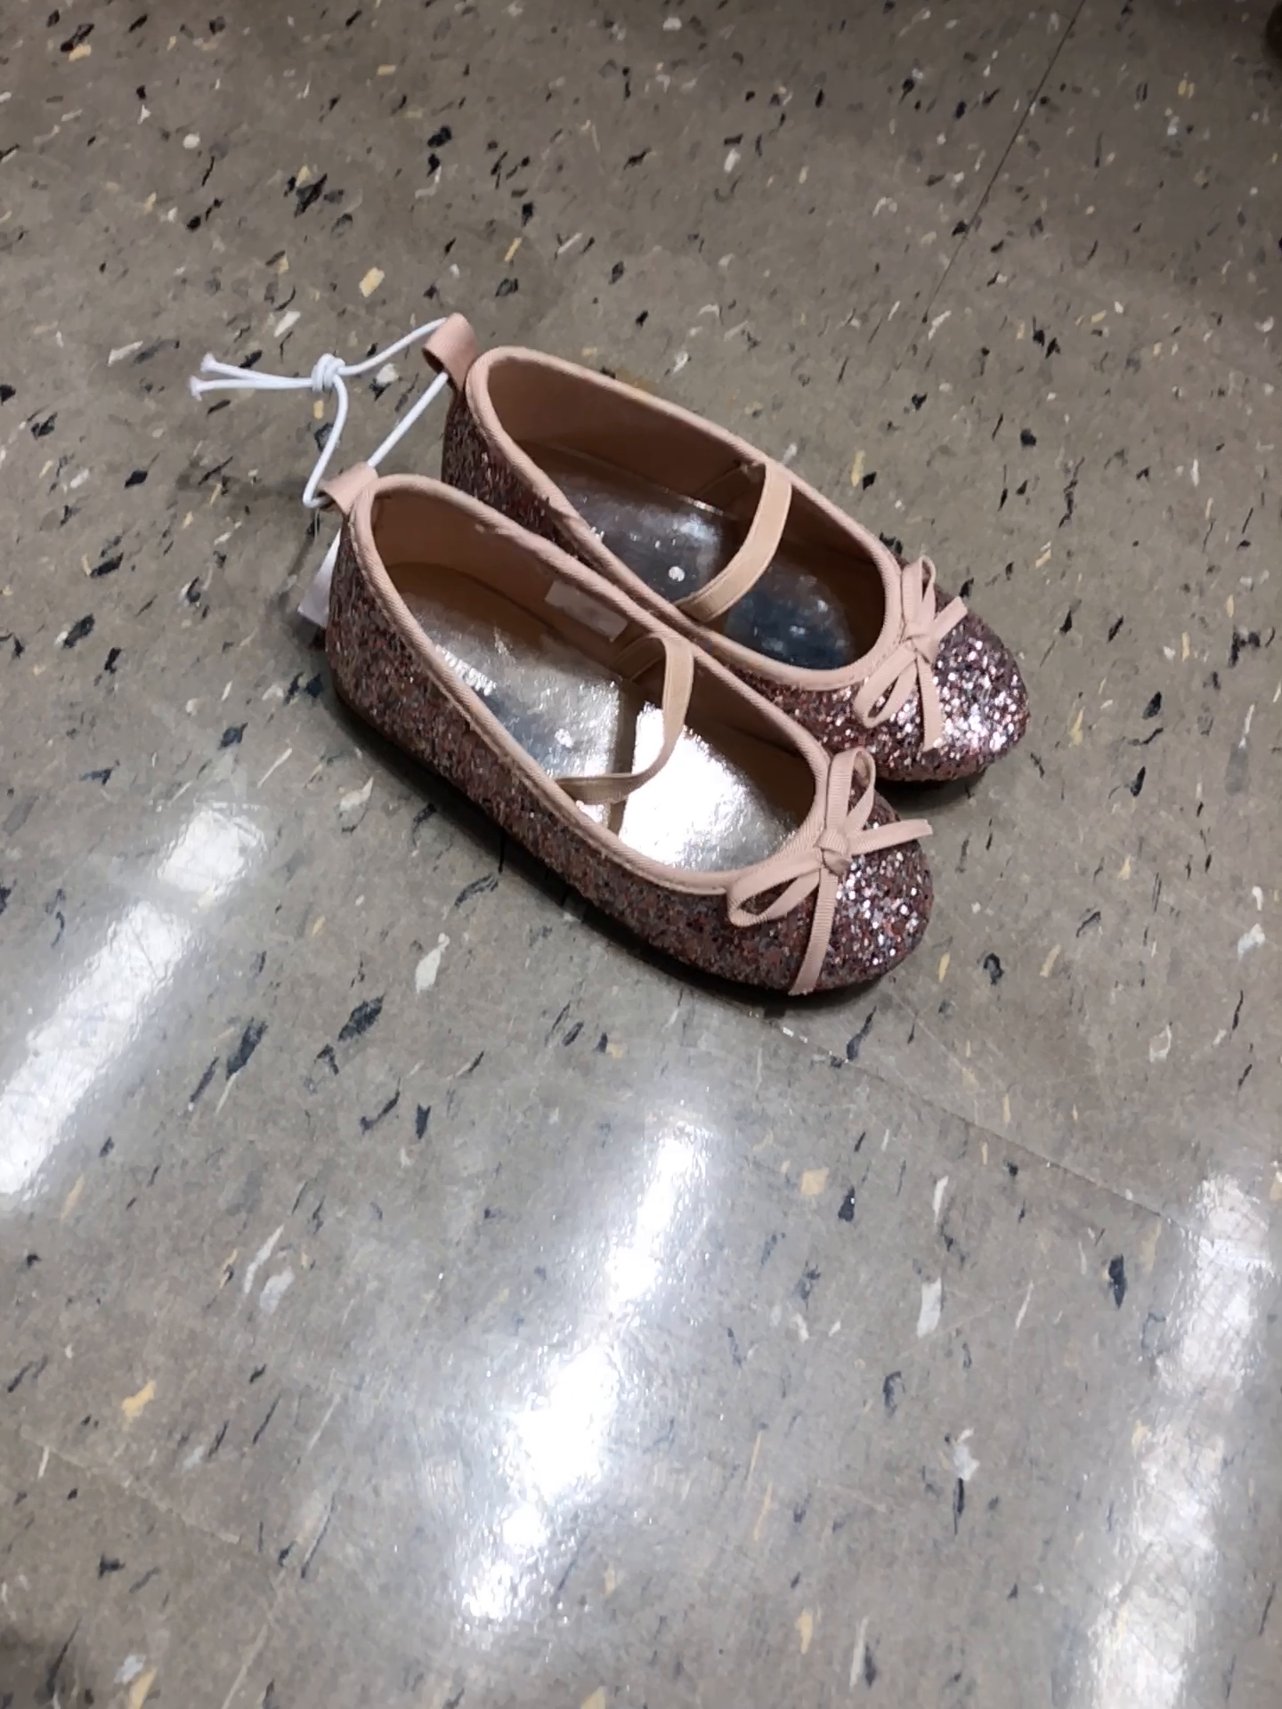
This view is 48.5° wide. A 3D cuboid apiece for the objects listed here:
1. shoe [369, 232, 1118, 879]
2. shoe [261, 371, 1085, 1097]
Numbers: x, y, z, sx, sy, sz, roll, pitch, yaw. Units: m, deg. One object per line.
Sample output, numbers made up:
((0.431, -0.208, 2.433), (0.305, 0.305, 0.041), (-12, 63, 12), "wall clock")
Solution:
((0.021, -0.072, 0.356), (0.160, 0.070, 0.070), (27, 61, 2), "shoe")
((0.003, -0.026, 0.325), (0.160, 0.070, 0.070), (31, 61, 4), "shoe")
